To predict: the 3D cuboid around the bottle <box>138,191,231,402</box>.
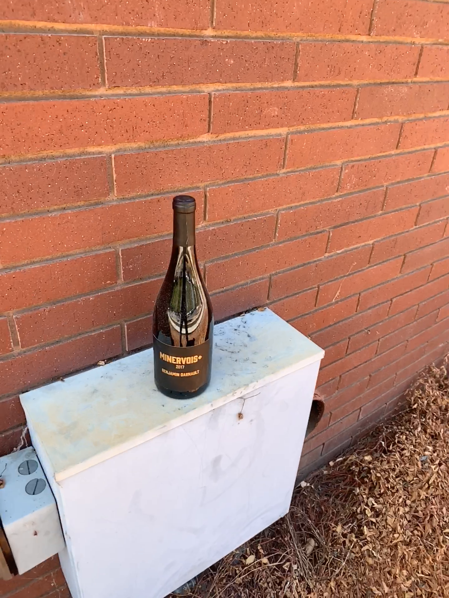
[{"bbox_3d":[-0.053,0.005,0.607,0.100,0.268,0.091,2,32,-4],"label":"bottle"}]
